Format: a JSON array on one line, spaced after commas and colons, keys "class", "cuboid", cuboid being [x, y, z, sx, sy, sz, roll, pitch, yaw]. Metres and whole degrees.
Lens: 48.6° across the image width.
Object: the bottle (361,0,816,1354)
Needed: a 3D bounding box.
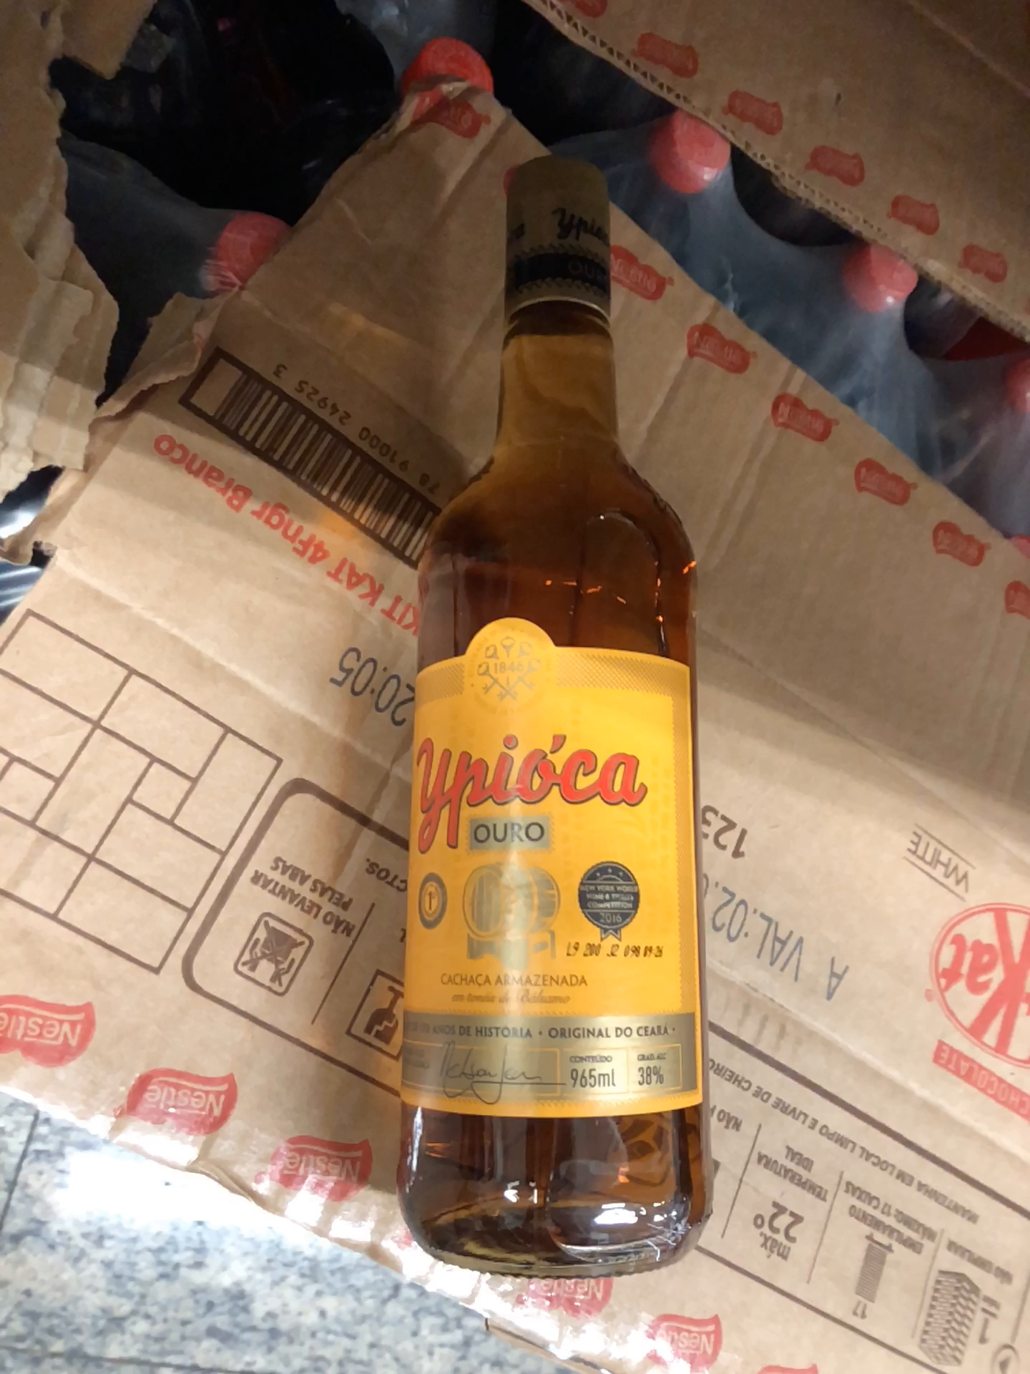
[{"class": "bottle", "cuboid": [0.026, -0.013, 0.307, 0.090, 0.080, 0.310, 25, 63, -61]}]
